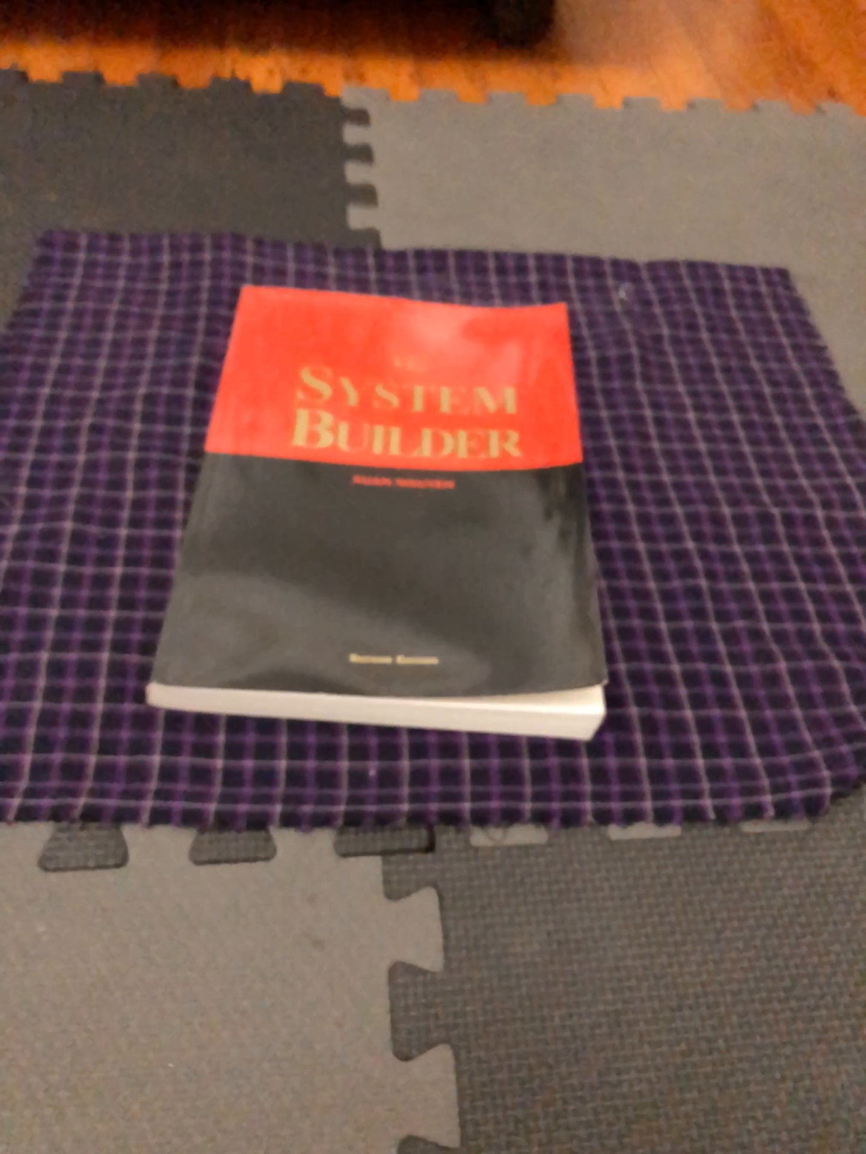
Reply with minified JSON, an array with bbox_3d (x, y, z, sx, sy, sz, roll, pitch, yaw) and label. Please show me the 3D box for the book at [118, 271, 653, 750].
[{"bbox_3d":[-0.015,-0.048,0.456,0.200,0.030,0.261,4,51,-3],"label":"book"}]
